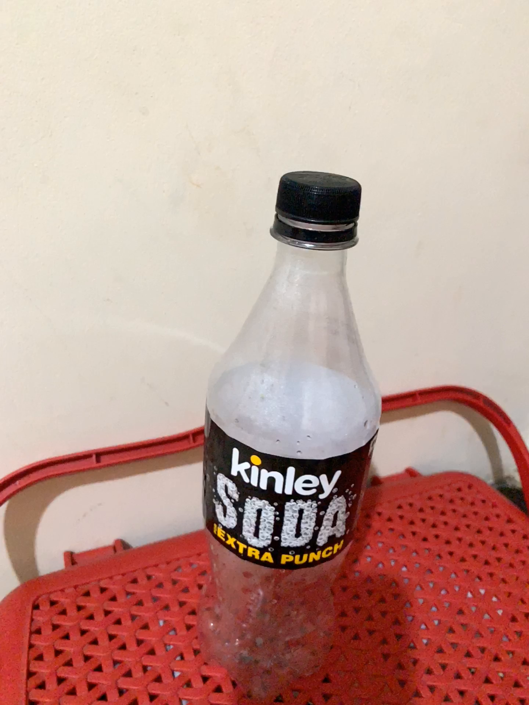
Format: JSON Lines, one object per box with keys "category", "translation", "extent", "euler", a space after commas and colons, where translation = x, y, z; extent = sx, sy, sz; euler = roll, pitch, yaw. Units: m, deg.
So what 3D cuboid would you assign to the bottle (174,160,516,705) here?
{"category": "bottle", "translation": [0.013, 0.053, 0.222], "extent": [0.080, 0.228, 0.071], "euler": [8, 31, 2]}
